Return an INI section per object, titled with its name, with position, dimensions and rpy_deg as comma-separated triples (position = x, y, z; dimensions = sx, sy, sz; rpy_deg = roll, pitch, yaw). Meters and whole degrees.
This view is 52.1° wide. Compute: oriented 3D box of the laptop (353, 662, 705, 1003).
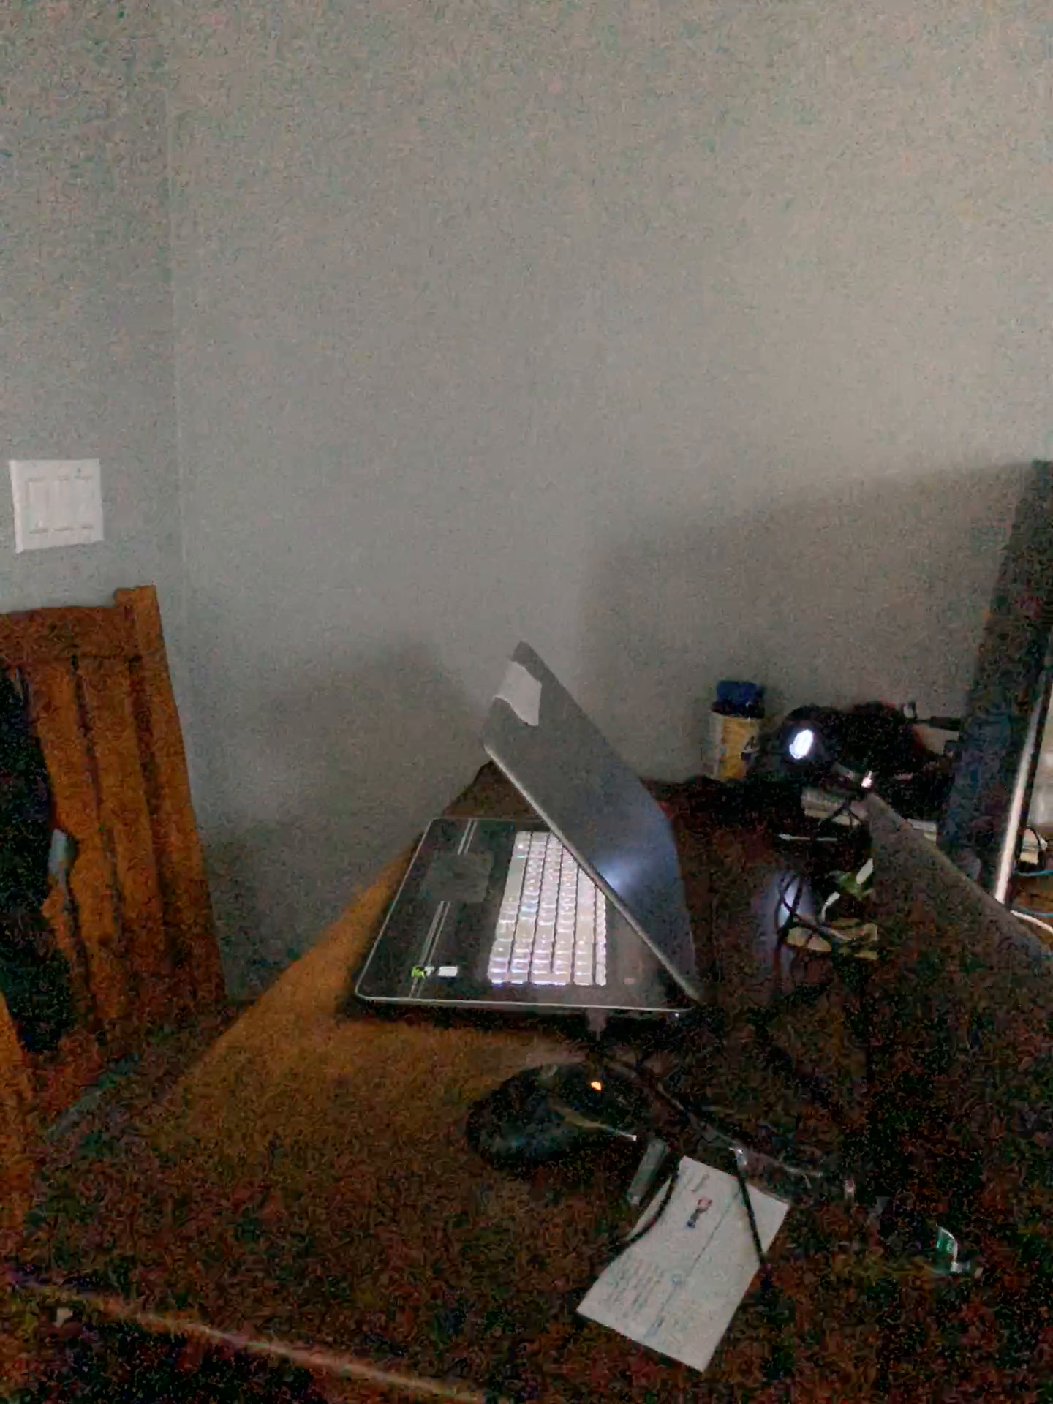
[laptop]
position = 0.011, 0.092, 1.003
dimensions = 0.256, 0.187, 0.394
rpy_deg = 2, 13, 4
